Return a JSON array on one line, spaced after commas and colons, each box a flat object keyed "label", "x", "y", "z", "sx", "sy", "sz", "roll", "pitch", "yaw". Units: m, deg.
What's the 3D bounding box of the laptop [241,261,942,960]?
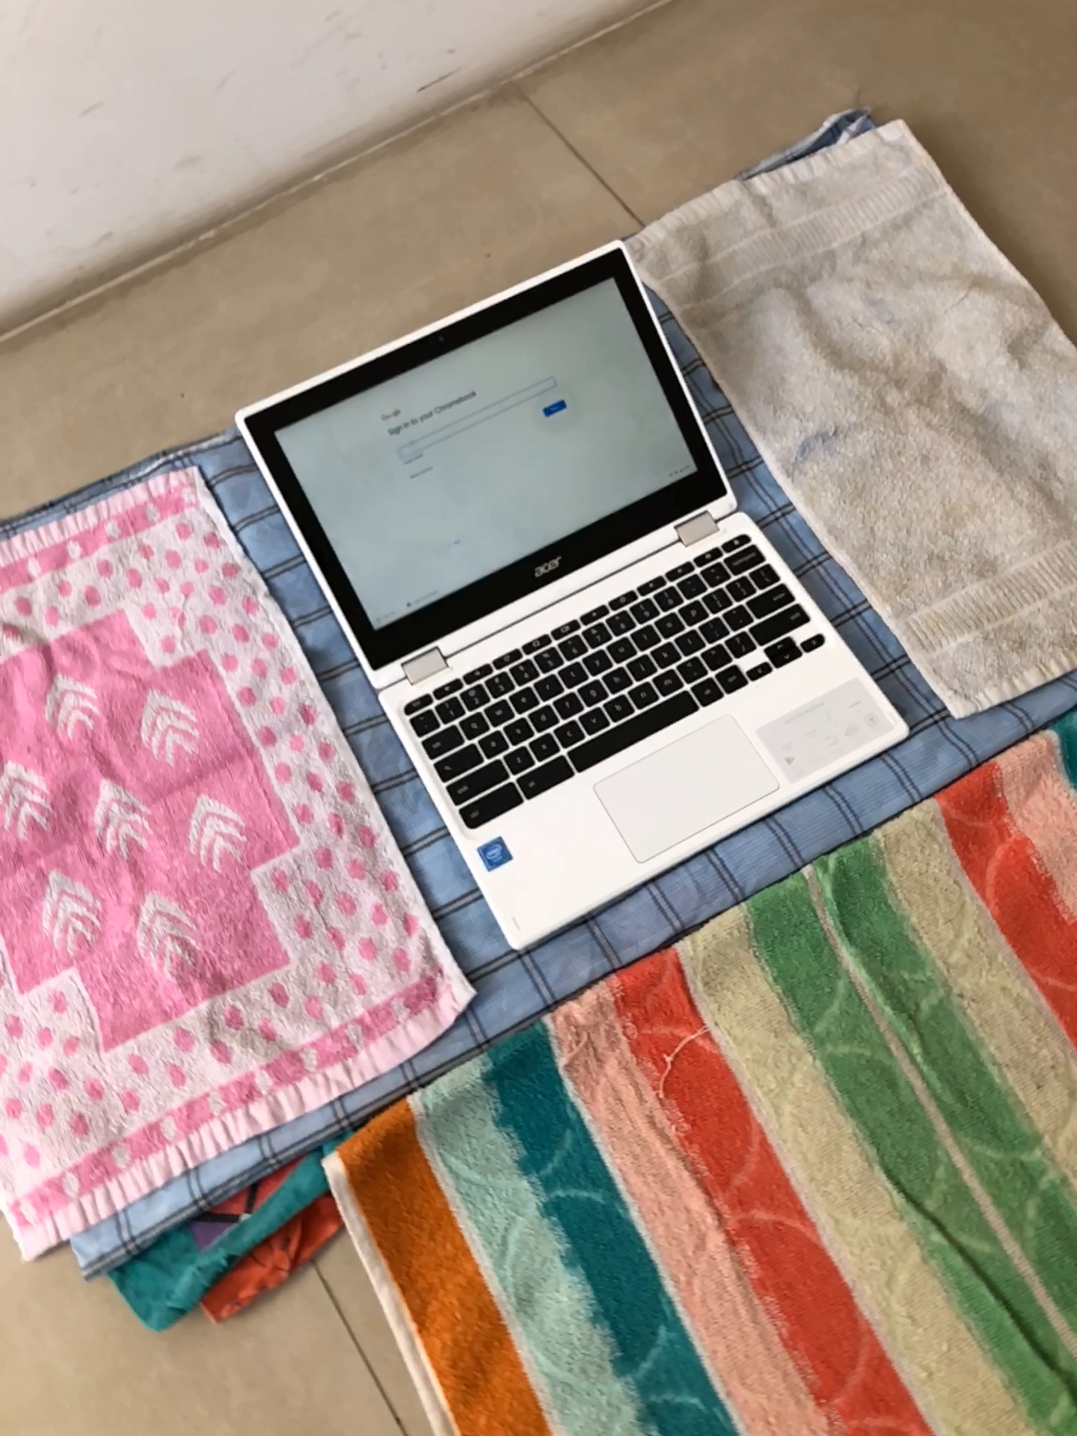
[{"label": "laptop", "x": 0.018, "y": -0.085, "z": 0.766, "sx": 0.286, "sy": 0.101, "sz": 0.367, "roll": -27, "pitch": 66, "yaw": -9}]
